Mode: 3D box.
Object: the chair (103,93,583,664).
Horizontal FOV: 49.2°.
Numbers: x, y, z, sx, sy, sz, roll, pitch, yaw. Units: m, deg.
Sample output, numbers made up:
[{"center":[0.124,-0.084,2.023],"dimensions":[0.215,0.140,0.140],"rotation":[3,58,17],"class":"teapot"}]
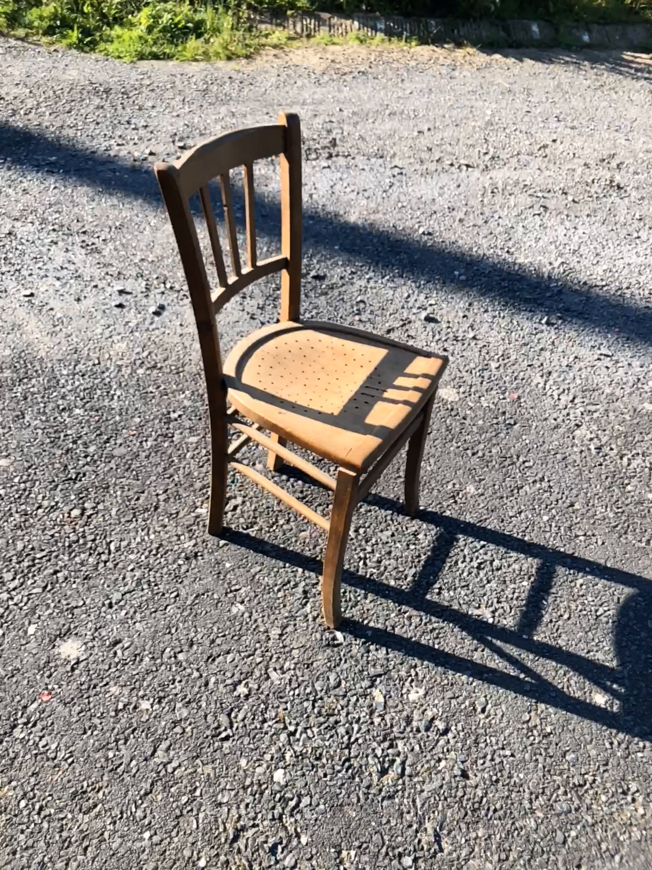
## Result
[{"center":[-0.001,-0.101,1.291],"dimensions":[0.540,0.735,0.493],"rotation":[28,45,17],"class":"chair"}]
